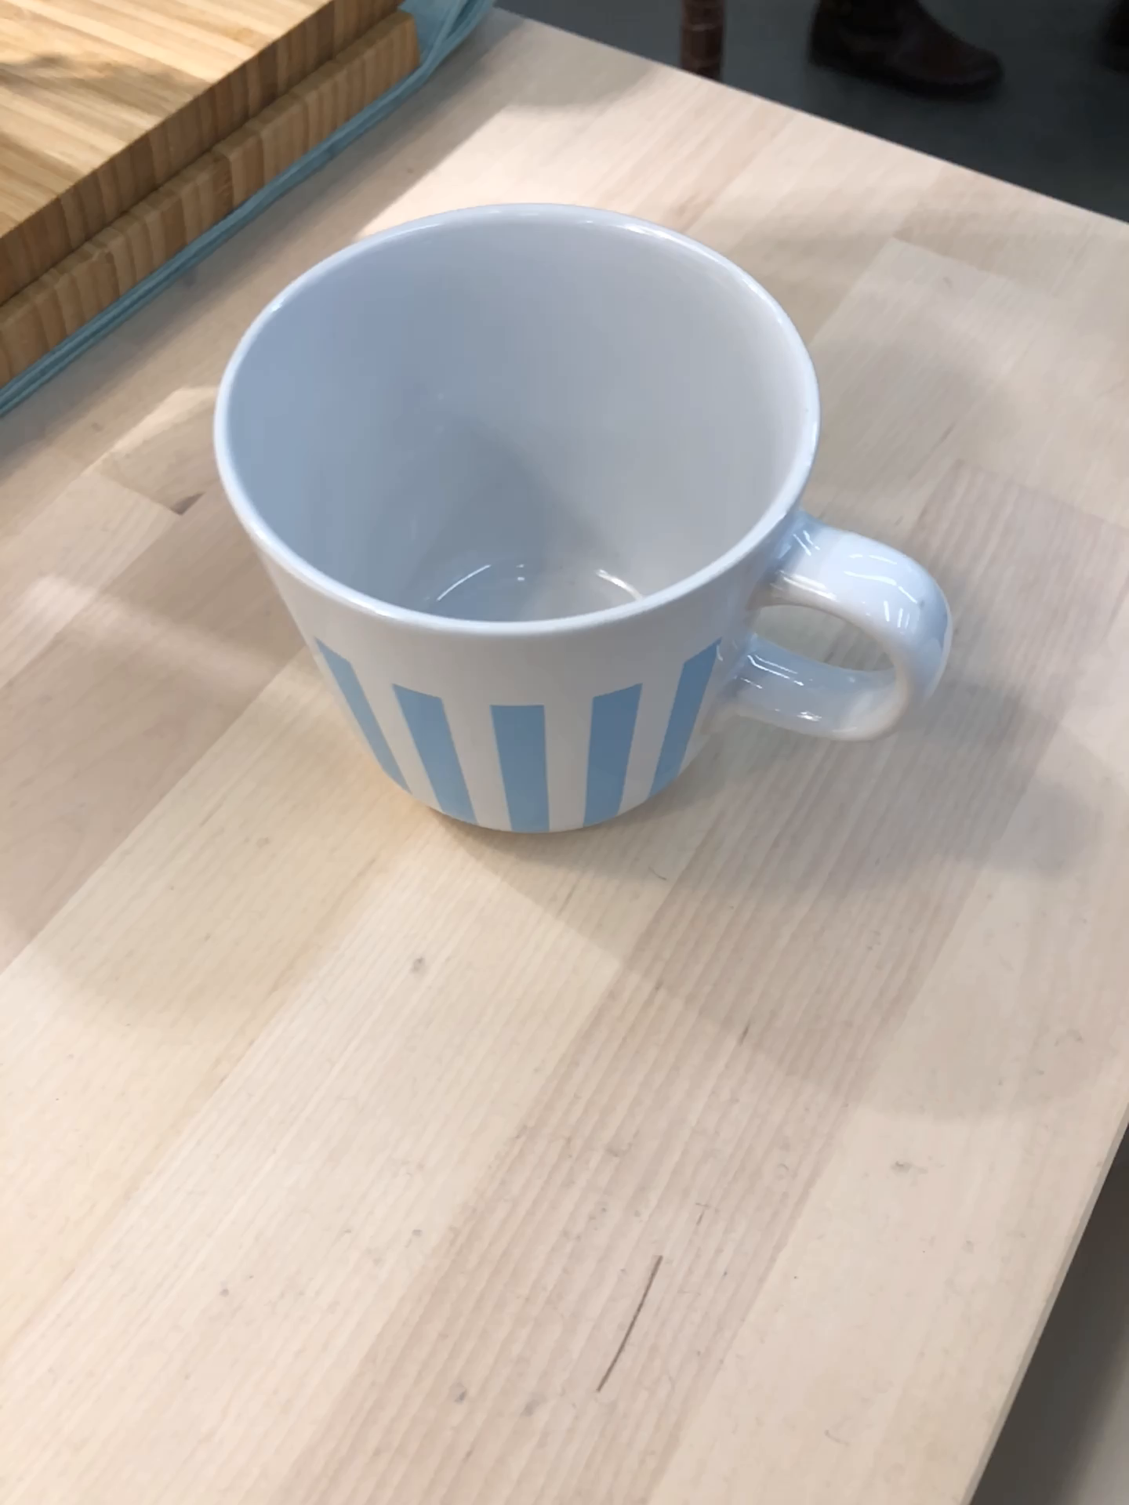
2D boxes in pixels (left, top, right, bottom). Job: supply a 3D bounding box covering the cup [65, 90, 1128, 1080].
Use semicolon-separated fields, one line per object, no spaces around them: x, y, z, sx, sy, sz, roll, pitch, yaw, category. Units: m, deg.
0.009;-0.026;0.195;0.120;0.080;0.080;28;64;18;cup
